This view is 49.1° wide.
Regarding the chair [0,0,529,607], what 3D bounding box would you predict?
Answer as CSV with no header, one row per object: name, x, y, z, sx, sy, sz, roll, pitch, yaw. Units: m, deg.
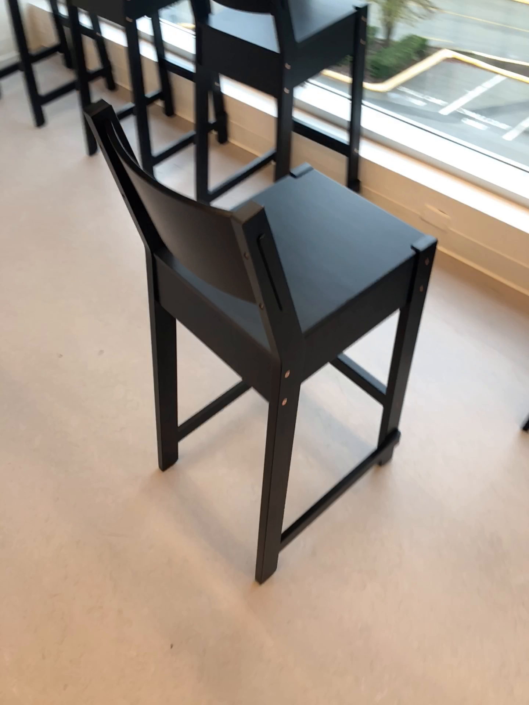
chair,0.035,-0.063,1.158,0.581,0.994,0.552,-35,57,-24
